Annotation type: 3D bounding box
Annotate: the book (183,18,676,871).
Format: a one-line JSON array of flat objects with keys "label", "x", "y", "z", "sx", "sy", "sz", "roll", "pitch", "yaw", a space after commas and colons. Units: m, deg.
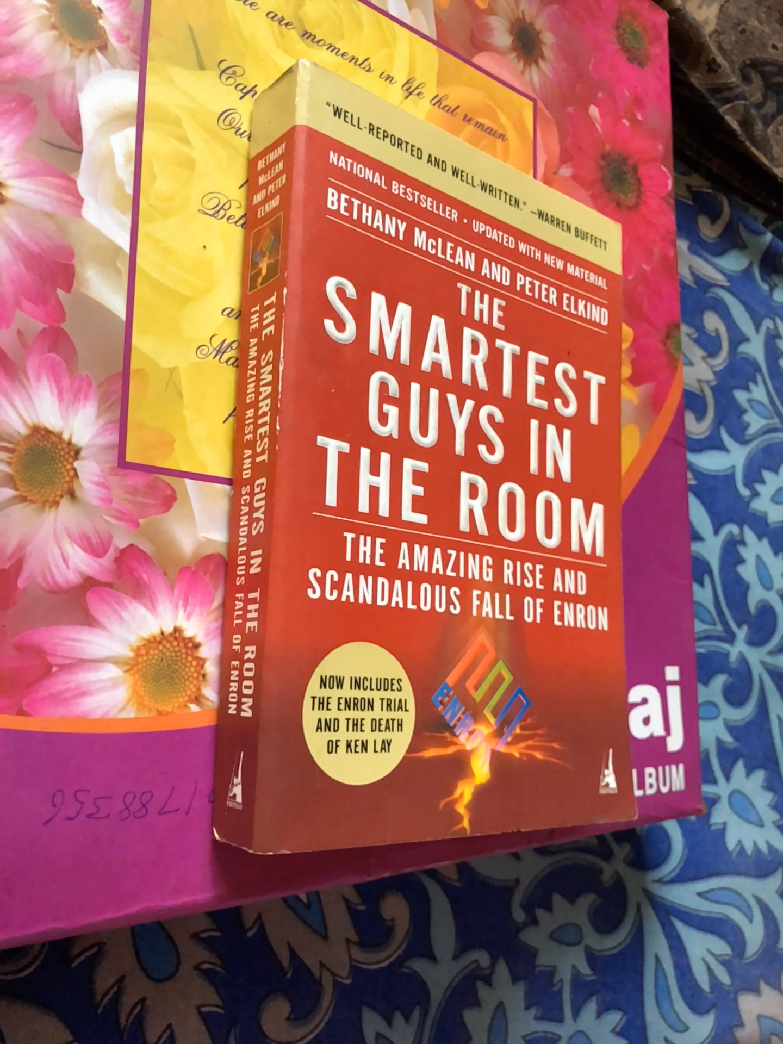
[{"label": "book", "x": 0.023, "y": -0.016, "z": 0.277, "sx": 0.151, "sy": 0.040, "sz": 0.220, "roll": 9, "pitch": 79, "yaw": -33}]
